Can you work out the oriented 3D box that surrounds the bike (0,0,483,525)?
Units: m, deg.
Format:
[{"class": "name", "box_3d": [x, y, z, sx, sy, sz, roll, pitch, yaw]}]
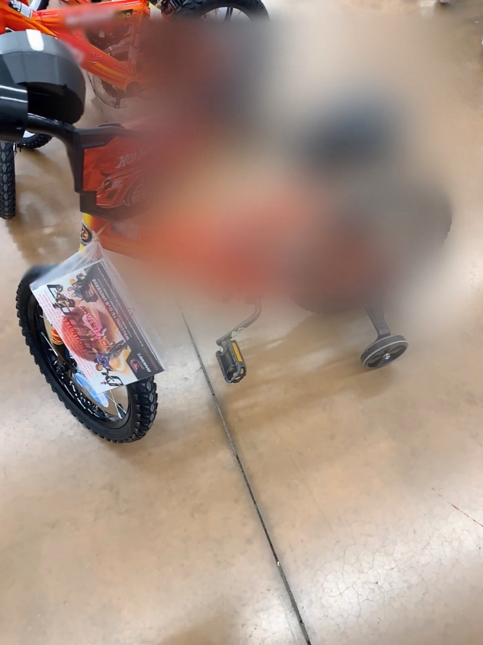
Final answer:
[{"class": "bike", "box_3d": [0.077, -0.145, 0.970, 0.740, 0.825, 0.511, -30, 62, -11]}]
